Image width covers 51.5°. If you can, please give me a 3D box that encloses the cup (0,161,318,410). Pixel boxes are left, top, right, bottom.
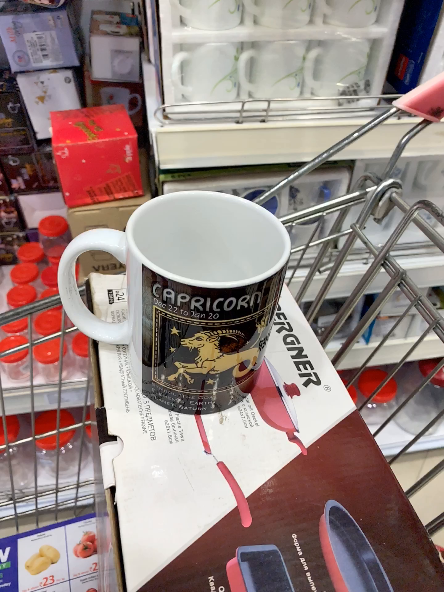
[{"bbox_3d":[-0.028,-0.003,0.232,0.120,0.090,0.080,3,43,-5],"label":"cup"}]
